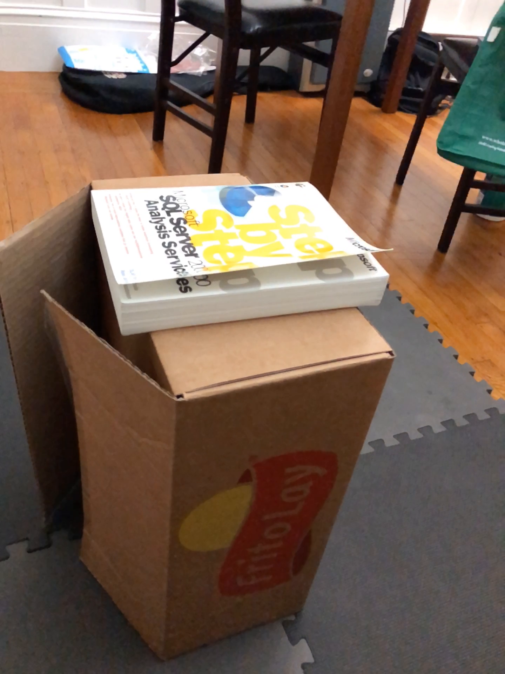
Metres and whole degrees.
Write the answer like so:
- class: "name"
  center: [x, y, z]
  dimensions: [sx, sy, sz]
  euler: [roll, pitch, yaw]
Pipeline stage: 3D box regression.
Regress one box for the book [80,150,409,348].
- class: "book"
  center: [-0.018, -0.096, 0.509]
  dimensions: [0.240, 0.050, 0.201]
  euler: [-10, 46, -19]
